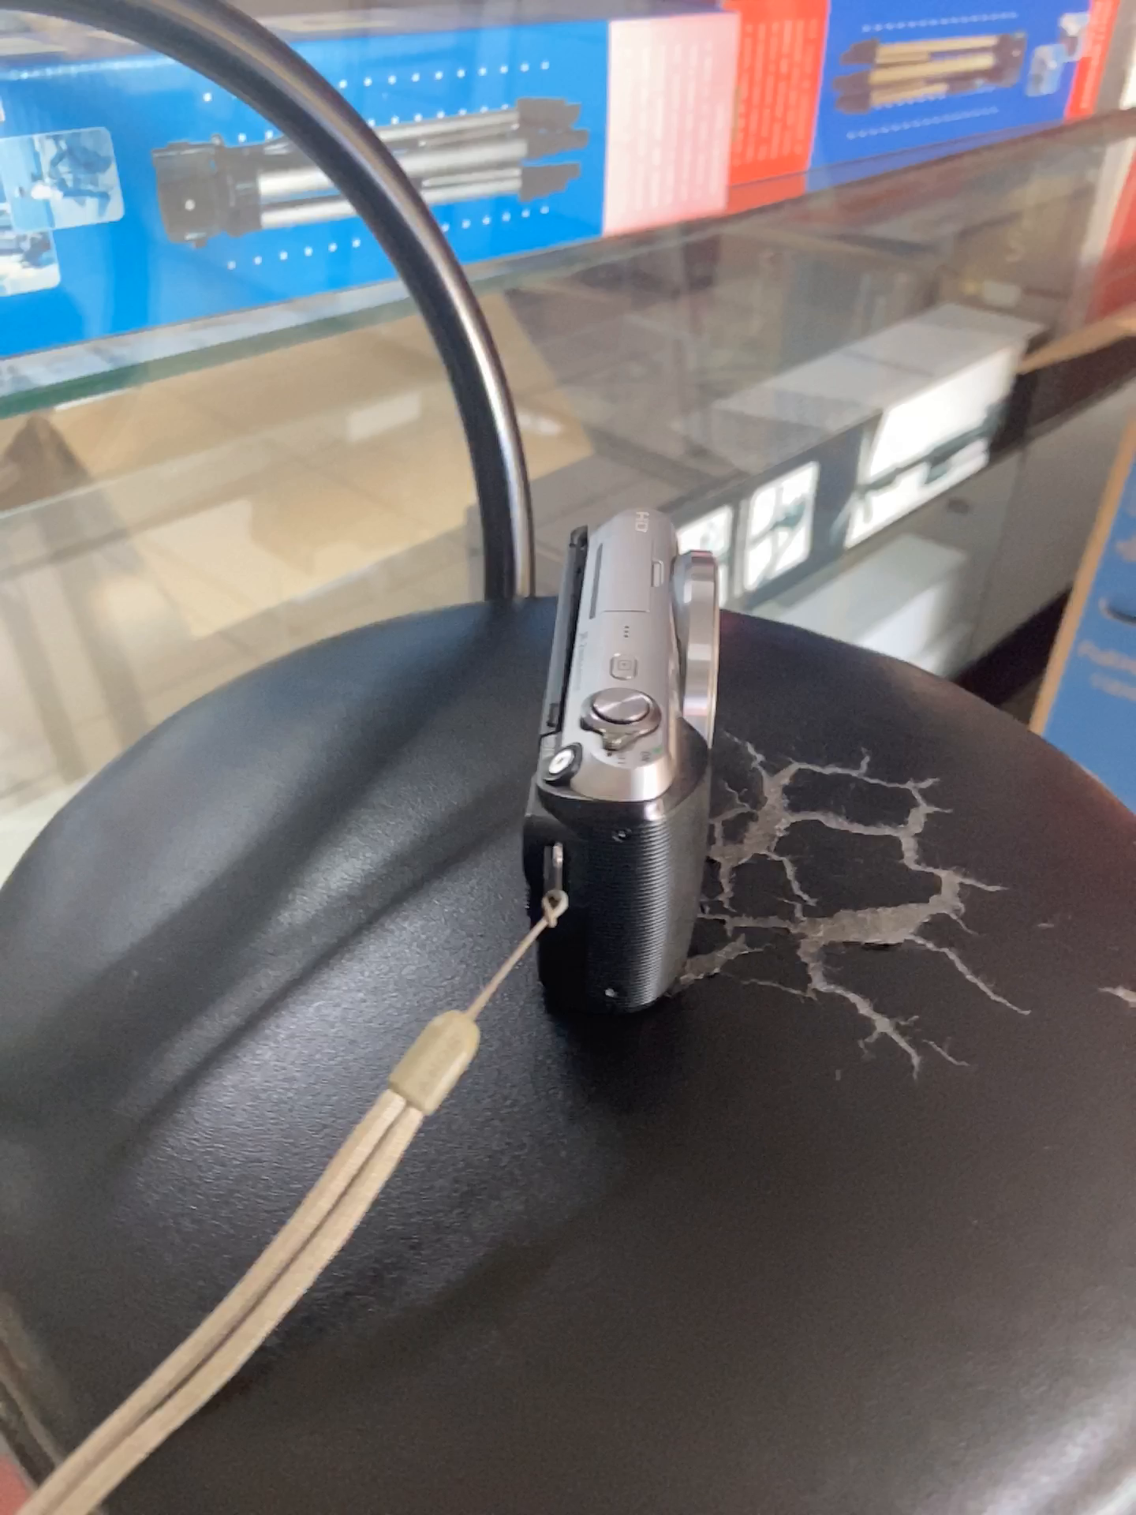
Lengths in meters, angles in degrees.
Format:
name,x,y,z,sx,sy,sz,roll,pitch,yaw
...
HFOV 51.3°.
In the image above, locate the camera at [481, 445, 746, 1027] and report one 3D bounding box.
name,x,y,z,sx,sy,sz,roll,pitch,yaw
camera,0.010,-0.012,0.244,0.040,0.060,0.121,2,37,2
